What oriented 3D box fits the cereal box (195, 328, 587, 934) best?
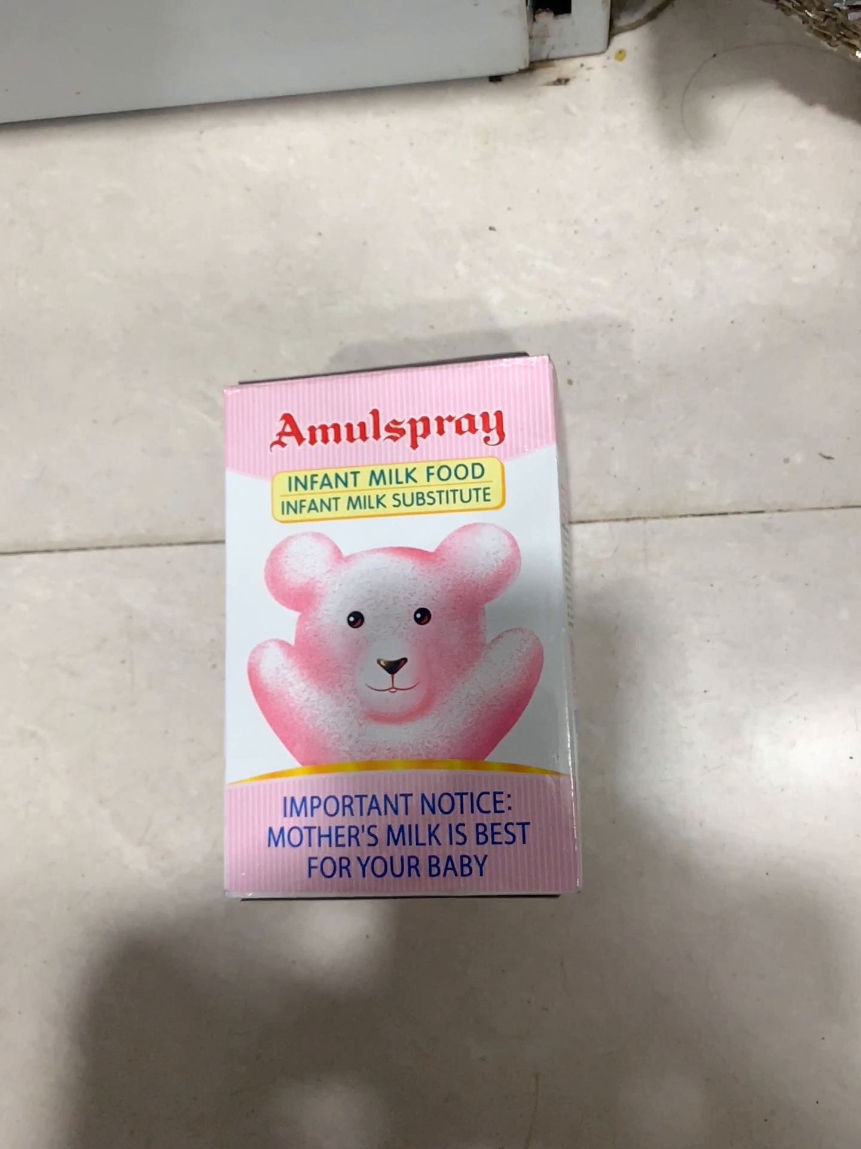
[{"bbox_3d":[-0.010,0.016,0.239,0.090,0.050,0.140,-4,81,8],"label":"cereal box"}]
